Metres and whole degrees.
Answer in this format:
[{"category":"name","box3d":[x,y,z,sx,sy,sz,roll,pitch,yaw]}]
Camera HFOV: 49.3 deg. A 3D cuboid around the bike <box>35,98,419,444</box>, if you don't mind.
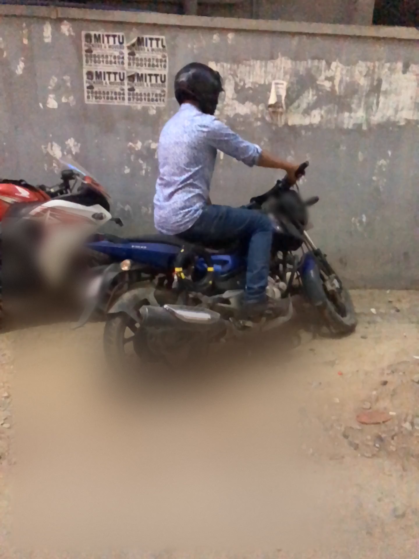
[{"category":"bike","box3d":[0.087,-0.252,2.527,1.507,1.114,1.093,-23,30,-36]}]
